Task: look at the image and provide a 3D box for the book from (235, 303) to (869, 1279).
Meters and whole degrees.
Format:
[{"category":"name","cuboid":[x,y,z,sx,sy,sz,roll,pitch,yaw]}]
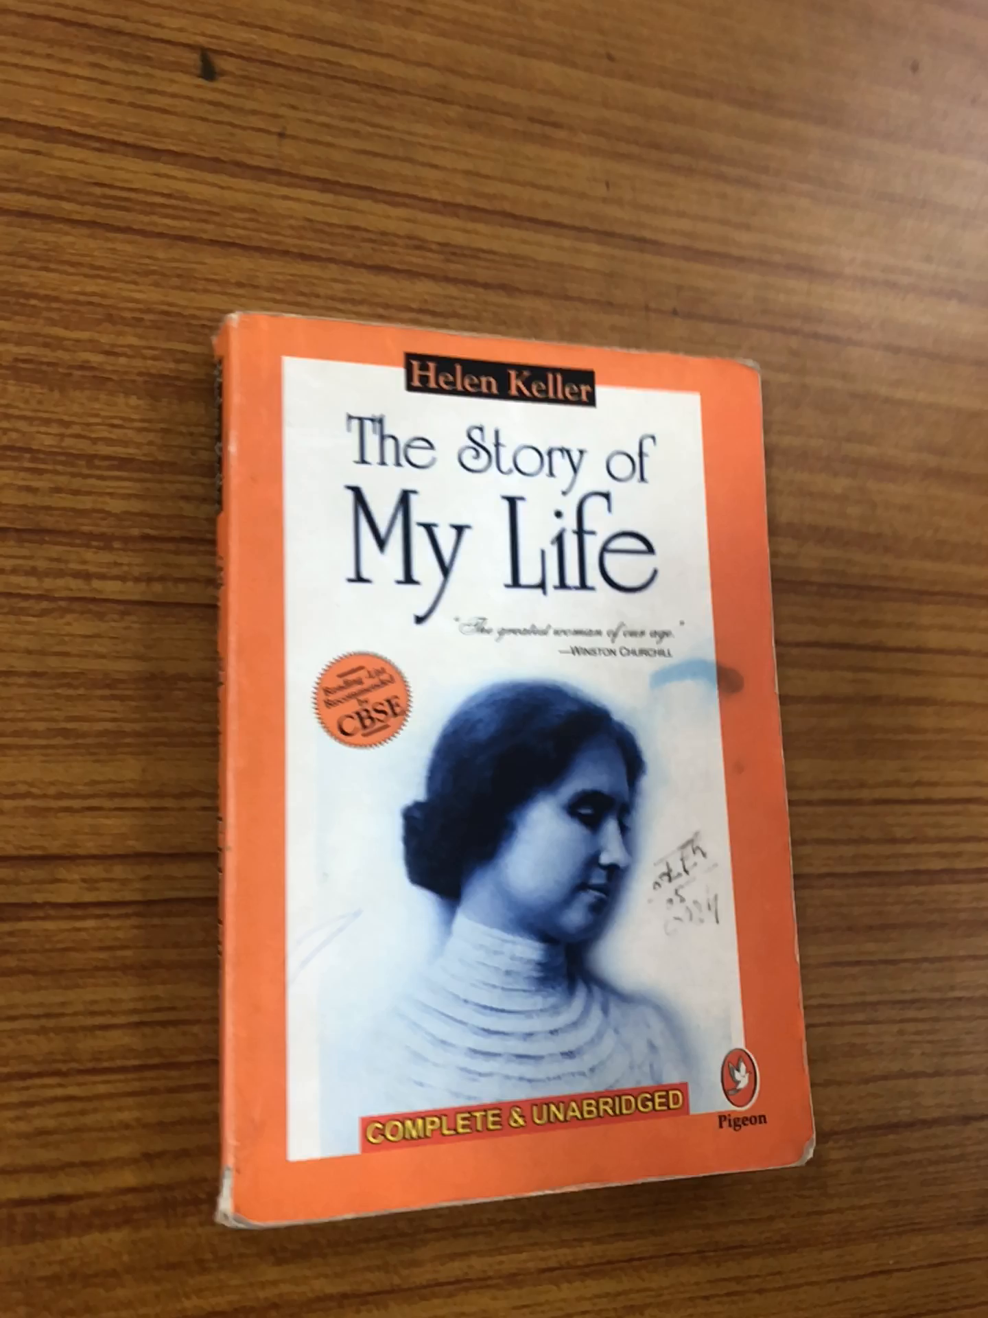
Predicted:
[{"category":"book","cuboid":[0.010,0.021,0.227,0.120,0.030,0.170,1,82,-18]}]
